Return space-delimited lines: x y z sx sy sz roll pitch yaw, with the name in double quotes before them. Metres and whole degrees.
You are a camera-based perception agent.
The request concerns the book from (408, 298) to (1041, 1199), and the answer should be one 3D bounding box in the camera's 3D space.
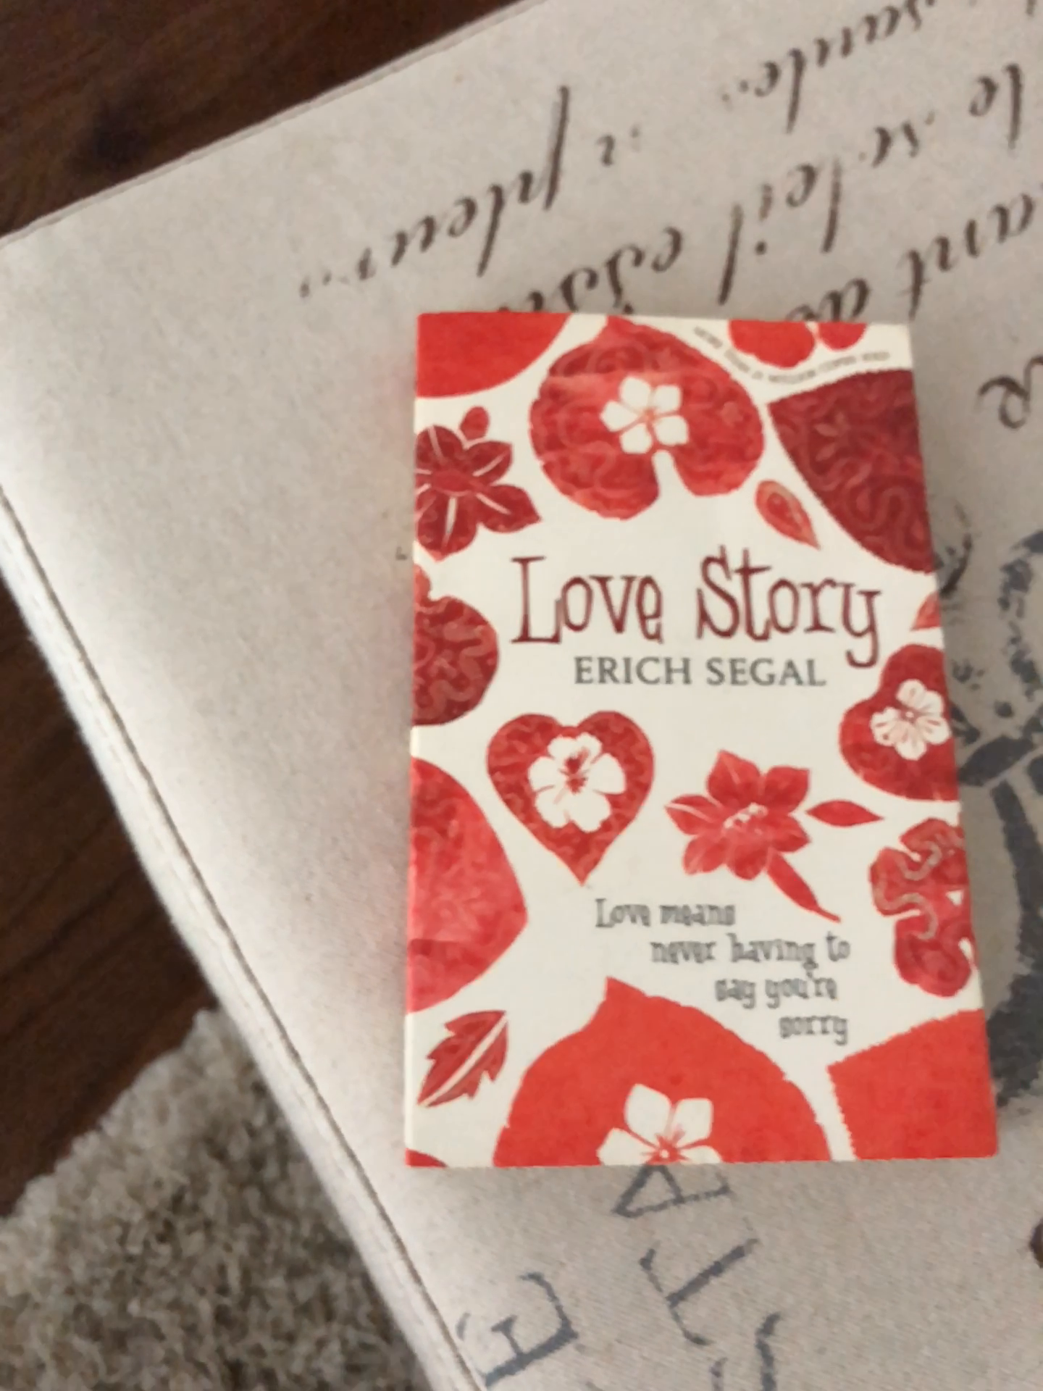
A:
"book" 0.037 0.004 0.255 0.120 0.020 0.188 0 74 -5
